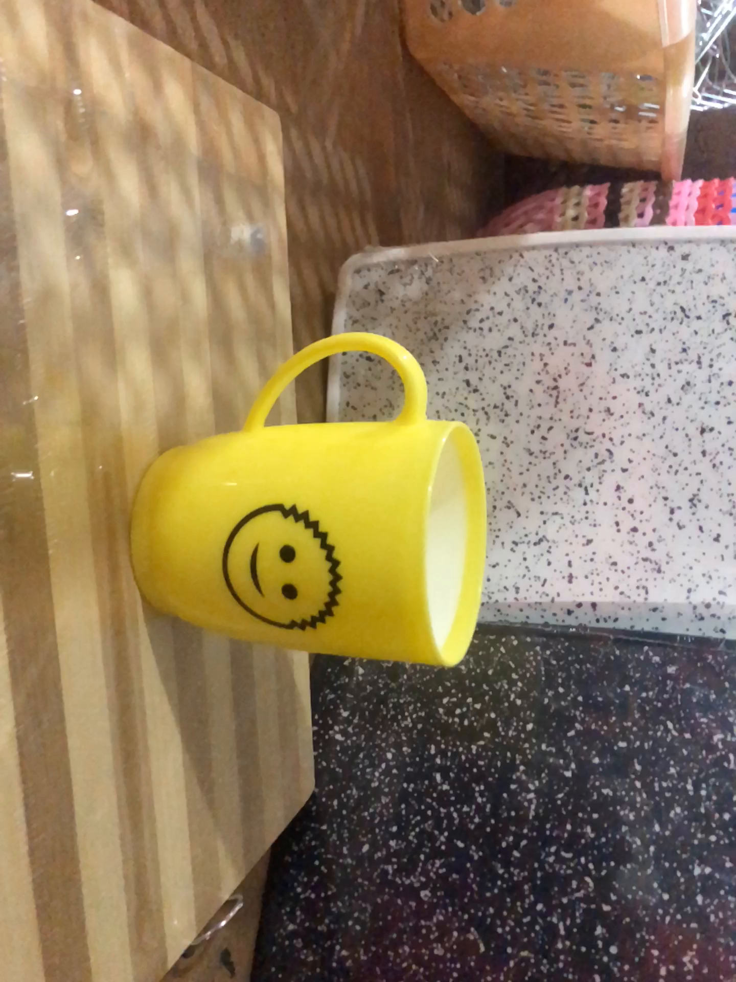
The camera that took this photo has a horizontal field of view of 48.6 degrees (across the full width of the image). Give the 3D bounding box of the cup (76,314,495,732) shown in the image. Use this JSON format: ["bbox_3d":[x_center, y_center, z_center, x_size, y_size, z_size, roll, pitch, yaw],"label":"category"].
[{"bbox_3d":[-0.019,0.003,0.264,0.080,0.099,0.110,-31,119,-66],"label":"cup"}]
